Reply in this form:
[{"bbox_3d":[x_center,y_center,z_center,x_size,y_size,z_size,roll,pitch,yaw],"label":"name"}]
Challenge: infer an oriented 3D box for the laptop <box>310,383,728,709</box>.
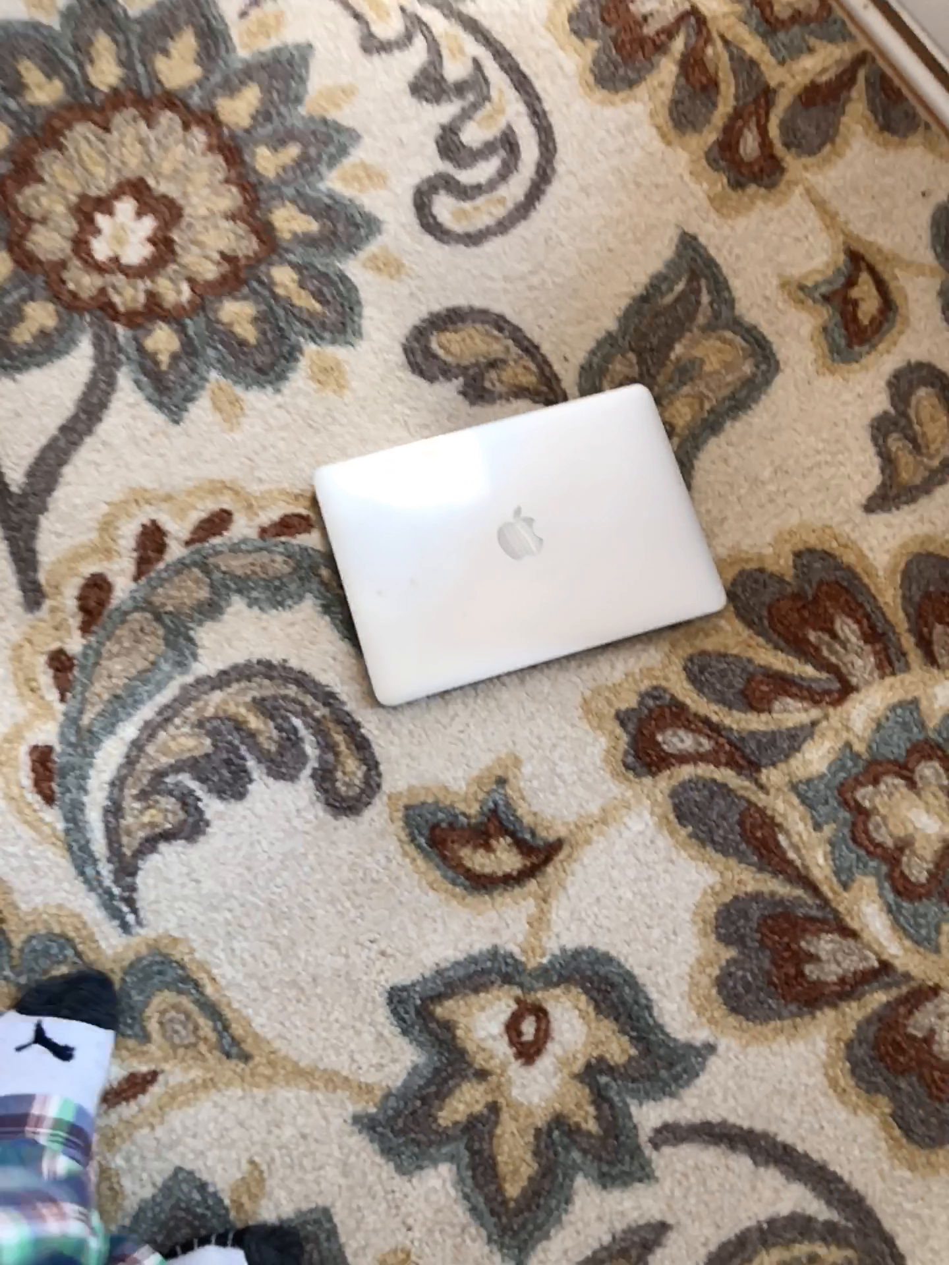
[{"bbox_3d":[0.035,-0.077,0.861,0.295,0.001,0.207,-16,78,-6],"label":"laptop"}]
